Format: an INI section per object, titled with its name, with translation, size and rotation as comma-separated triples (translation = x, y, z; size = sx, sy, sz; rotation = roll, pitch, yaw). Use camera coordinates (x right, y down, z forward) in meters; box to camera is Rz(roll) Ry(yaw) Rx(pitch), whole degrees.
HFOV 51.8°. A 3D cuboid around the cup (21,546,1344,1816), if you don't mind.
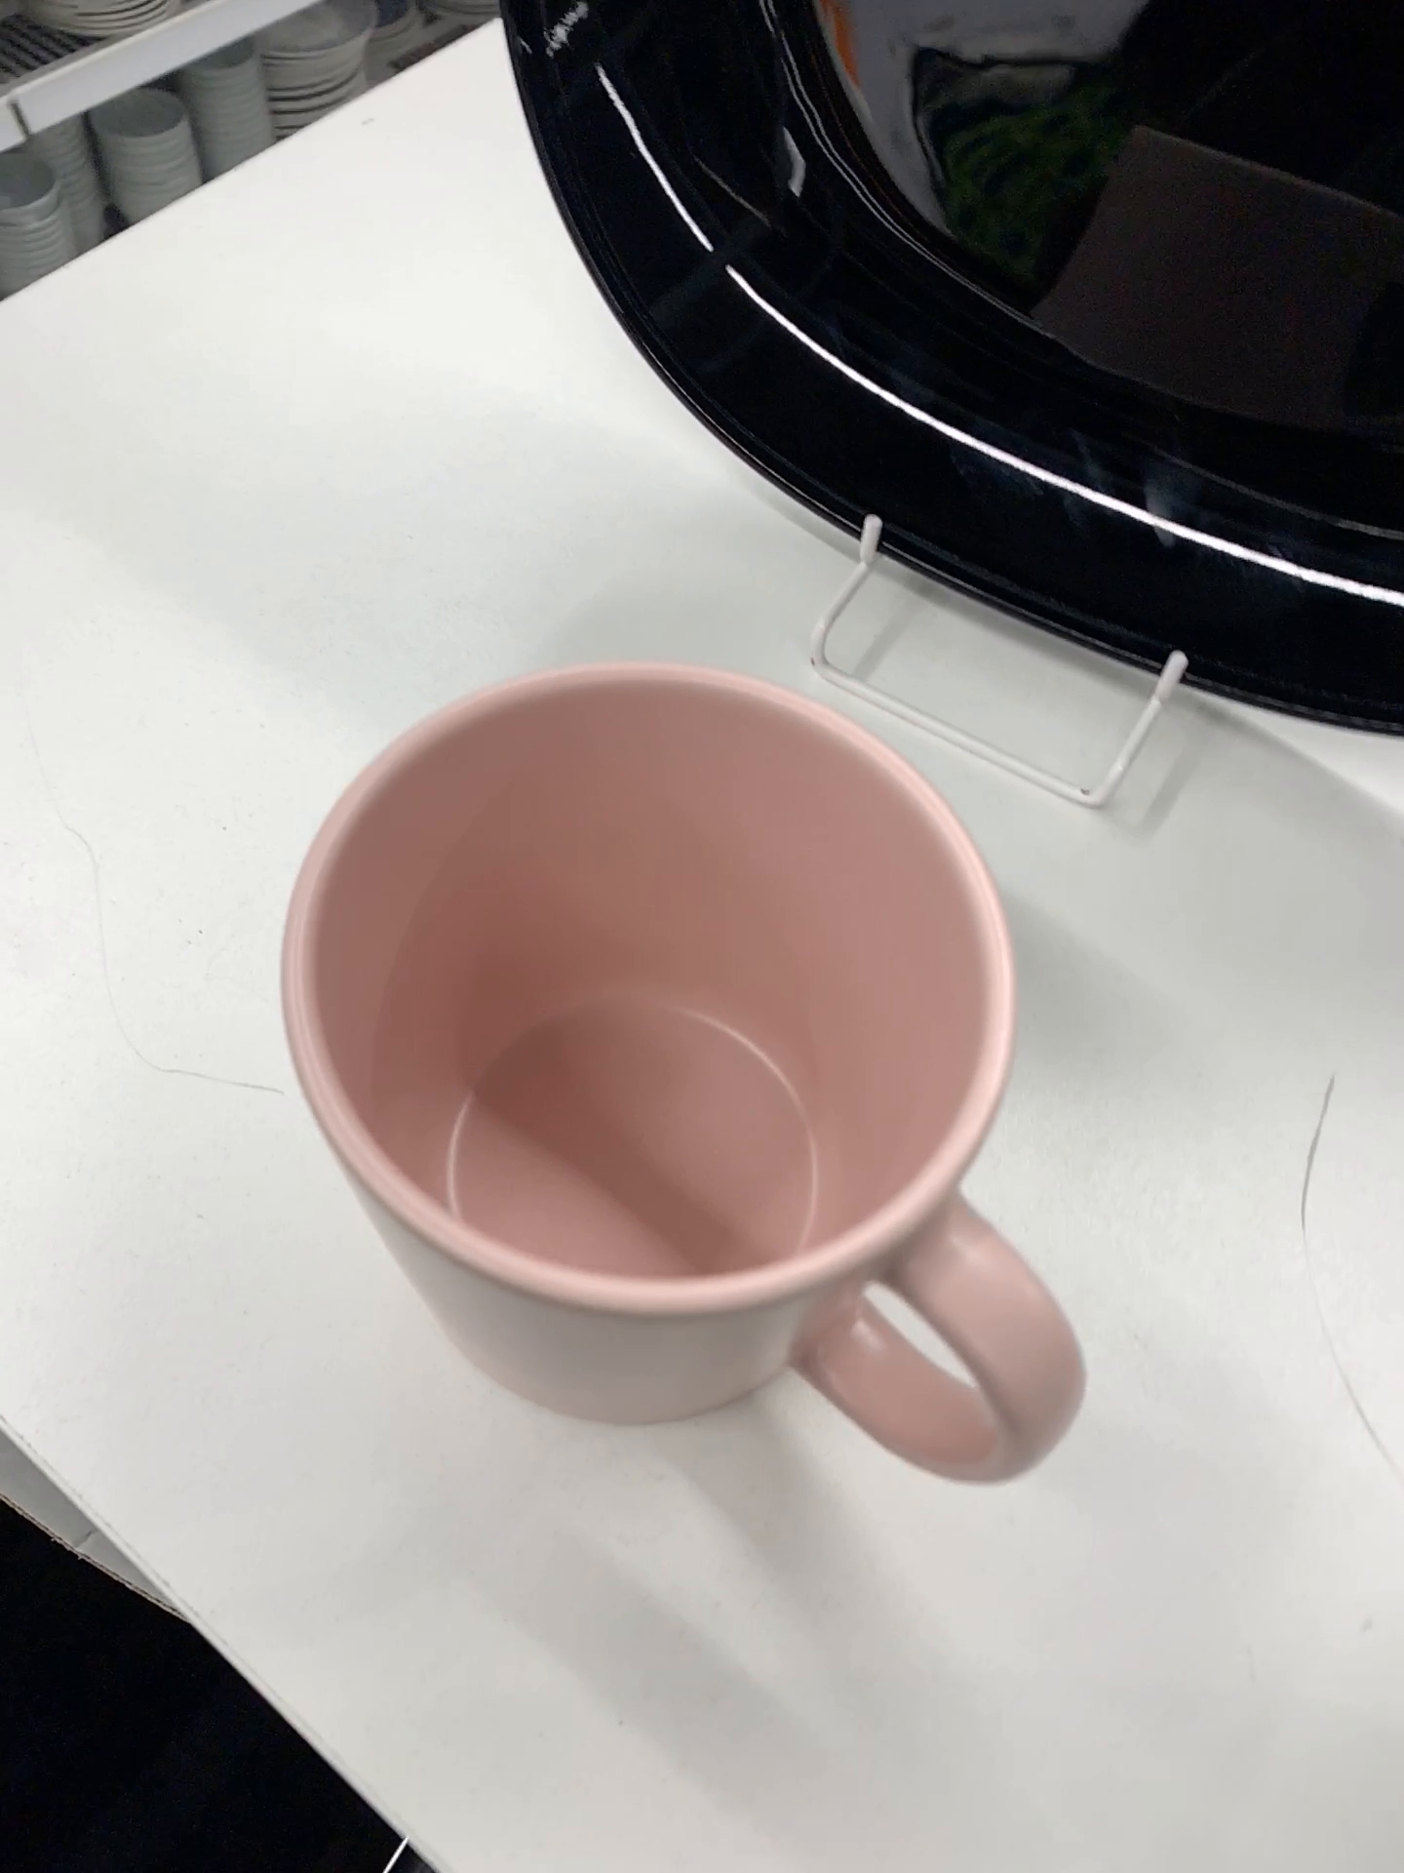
[cup]
translation = -0.006, 0.031, 0.196
size = 0.090, 0.080, 0.120
rotation = -39, 71, -25
